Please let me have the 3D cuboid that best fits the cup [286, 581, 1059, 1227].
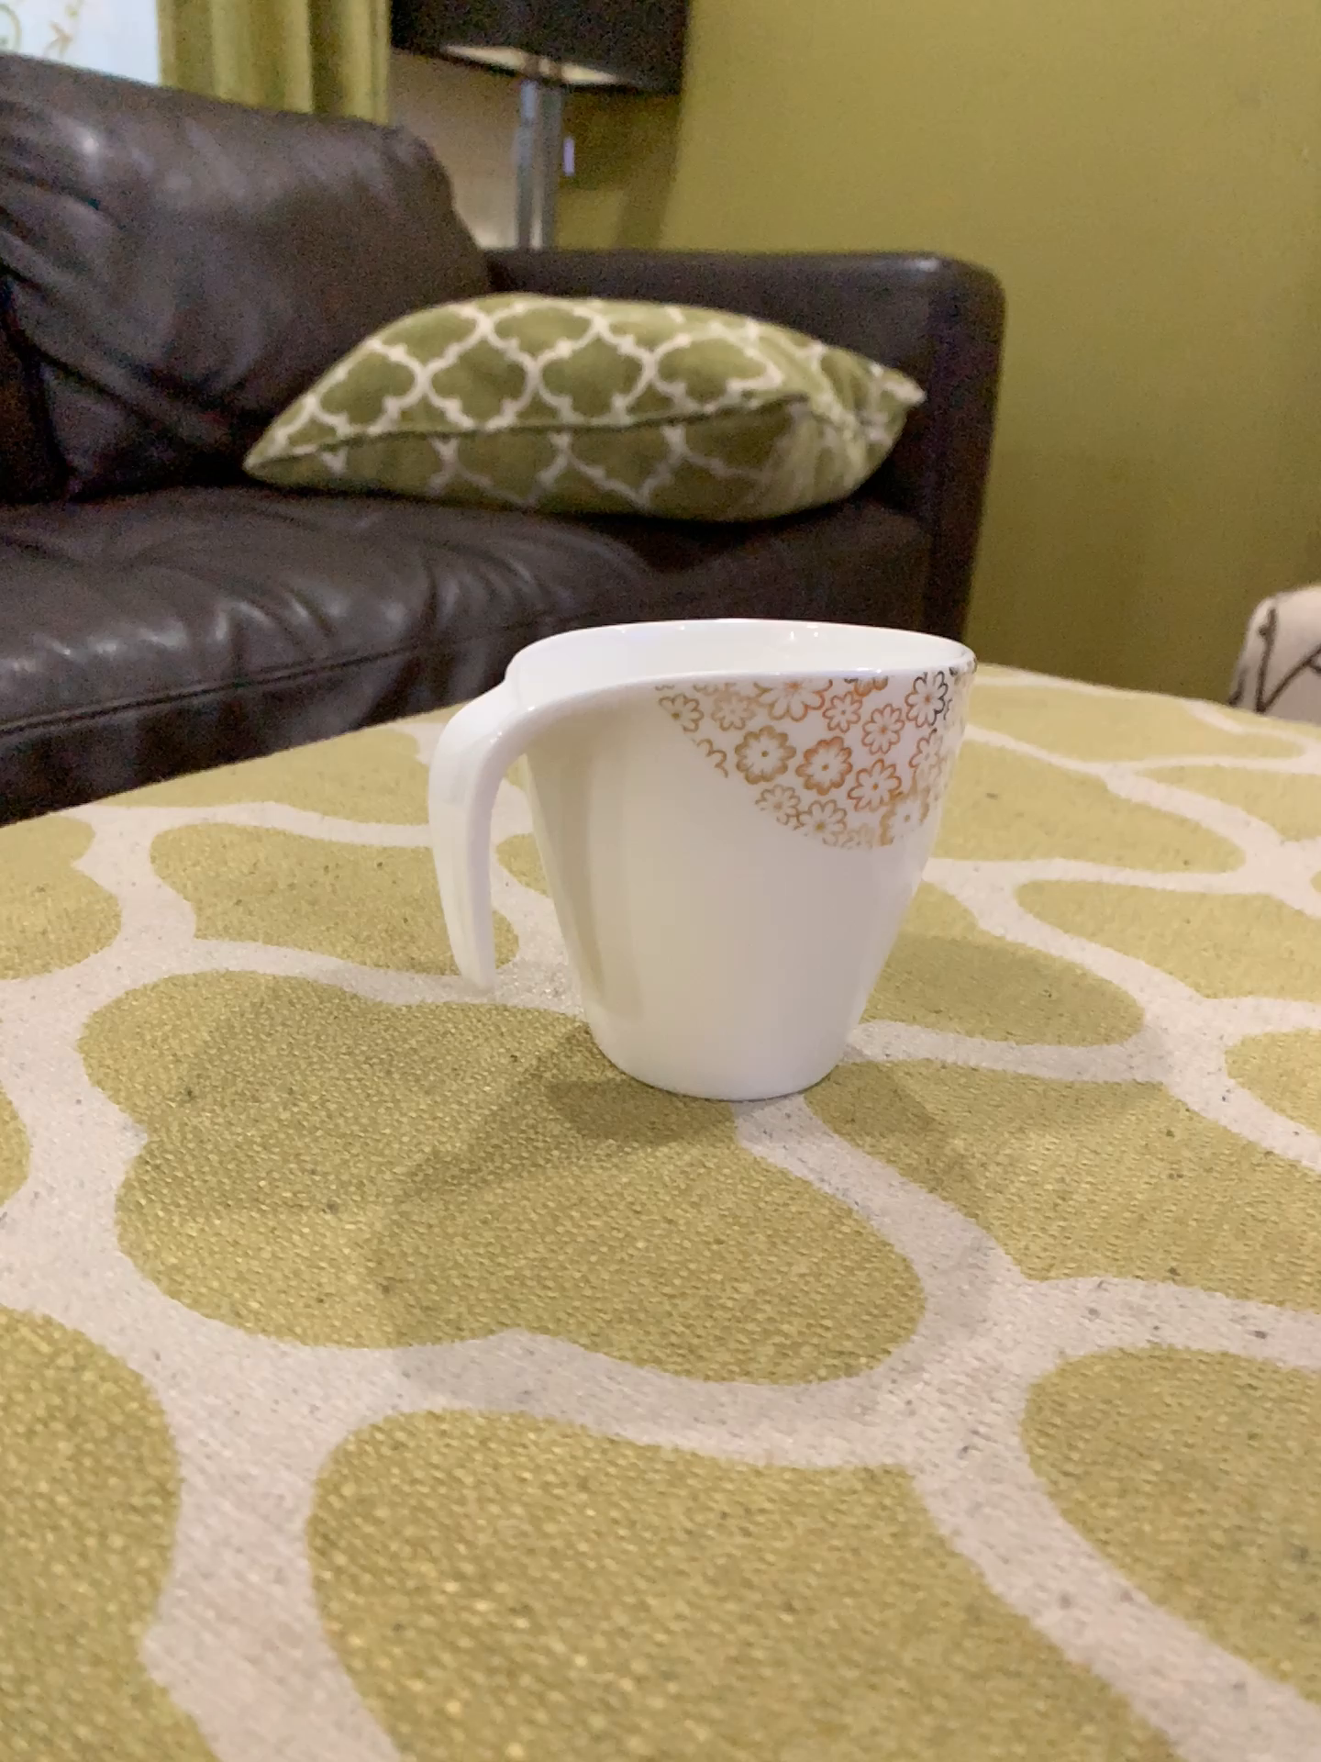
[{"bbox_3d":[-0.001,-0.007,0.261,0.109,0.079,0.089,-11,25,-31],"label":"cup"}]
